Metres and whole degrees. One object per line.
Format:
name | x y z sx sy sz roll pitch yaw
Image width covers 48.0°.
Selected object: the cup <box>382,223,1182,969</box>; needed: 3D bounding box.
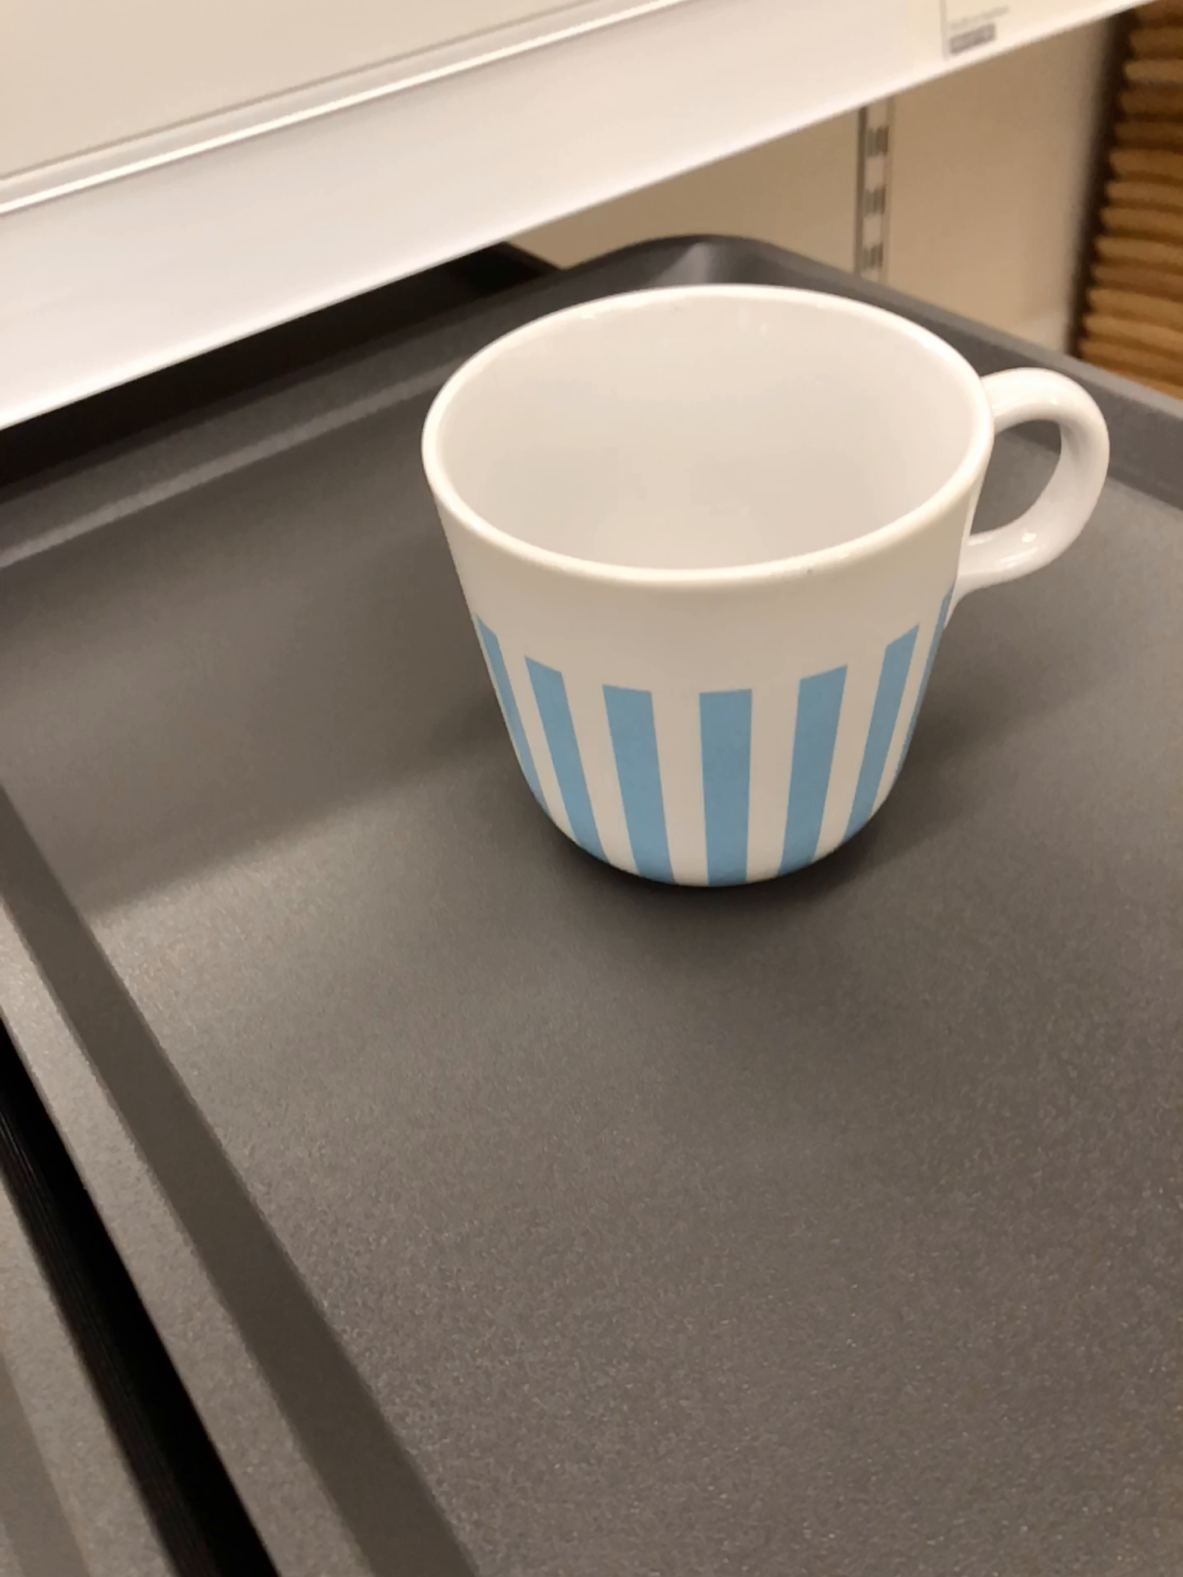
cup | 0.031 -0.038 0.231 0.110 0.070 0.090 -14 42 -8
